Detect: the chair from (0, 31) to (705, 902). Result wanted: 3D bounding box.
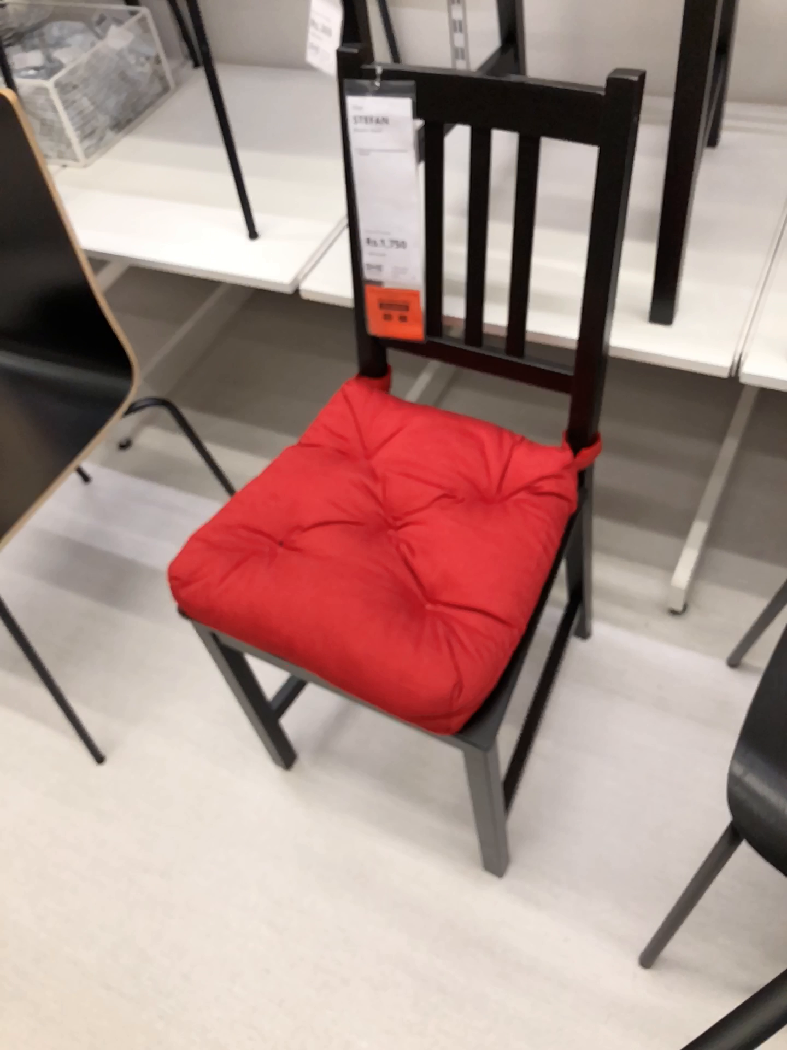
[{"bbox_3d":[0.020,-0.011,1.018,0.431,0.835,0.482,19,57,24],"label":"chair"}]
